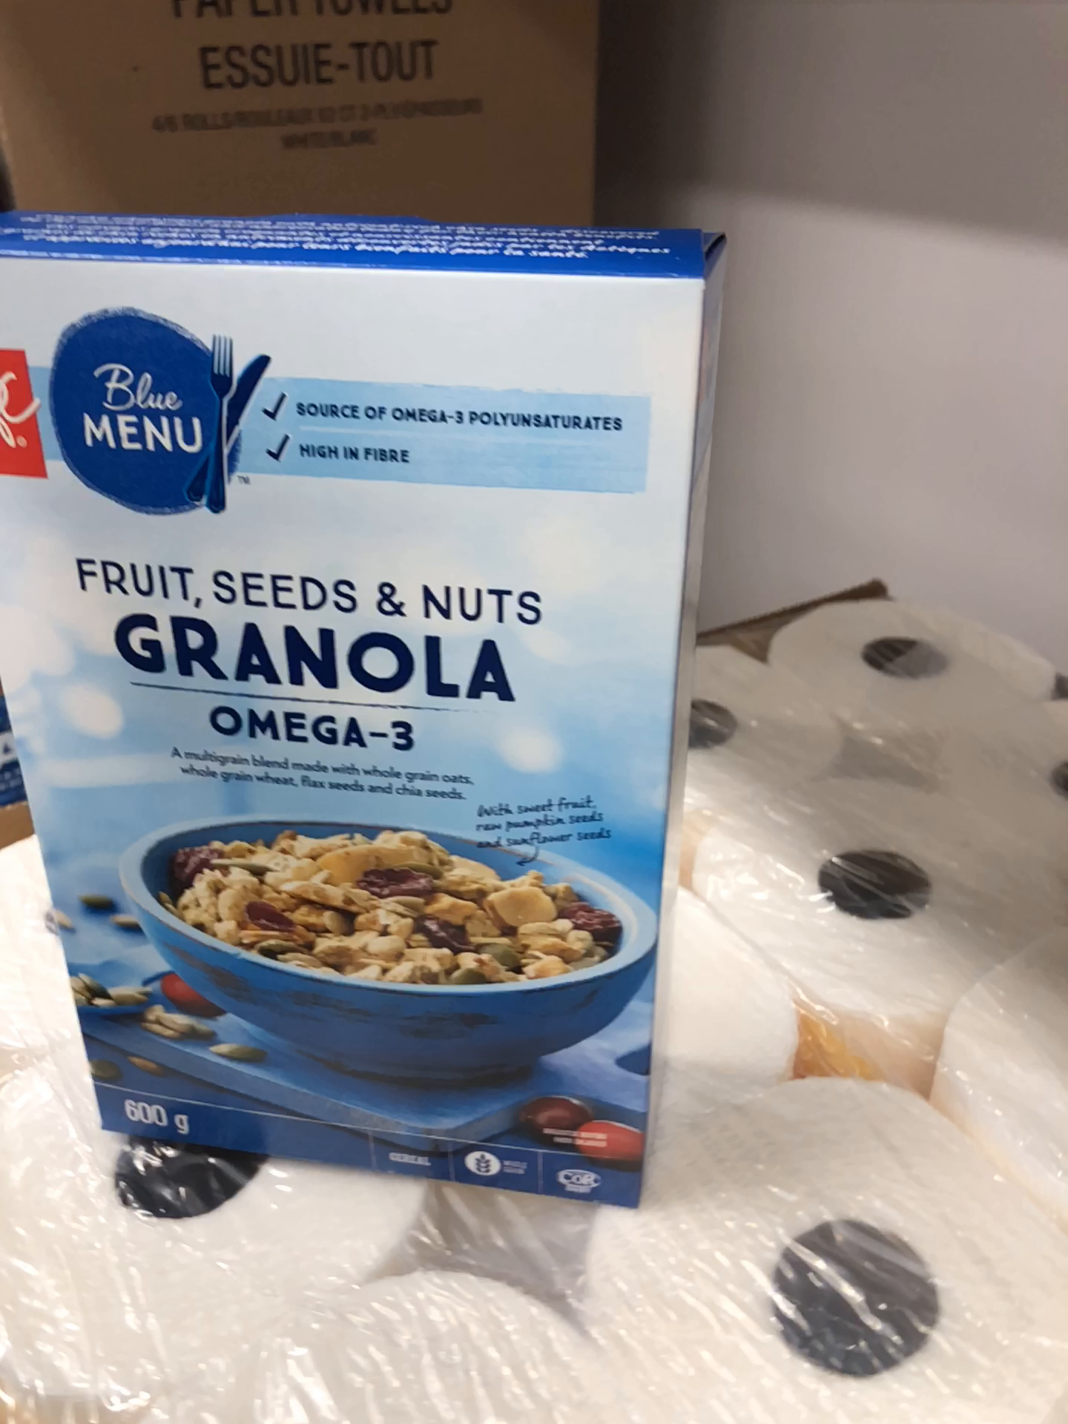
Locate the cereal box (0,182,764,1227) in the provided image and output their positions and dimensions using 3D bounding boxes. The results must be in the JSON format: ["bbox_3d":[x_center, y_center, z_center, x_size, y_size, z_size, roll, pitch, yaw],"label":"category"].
[{"bbox_3d":[-0.036,0.005,0.290,0.160,0.239,0.060,5,29,11],"label":"cereal box"}]
